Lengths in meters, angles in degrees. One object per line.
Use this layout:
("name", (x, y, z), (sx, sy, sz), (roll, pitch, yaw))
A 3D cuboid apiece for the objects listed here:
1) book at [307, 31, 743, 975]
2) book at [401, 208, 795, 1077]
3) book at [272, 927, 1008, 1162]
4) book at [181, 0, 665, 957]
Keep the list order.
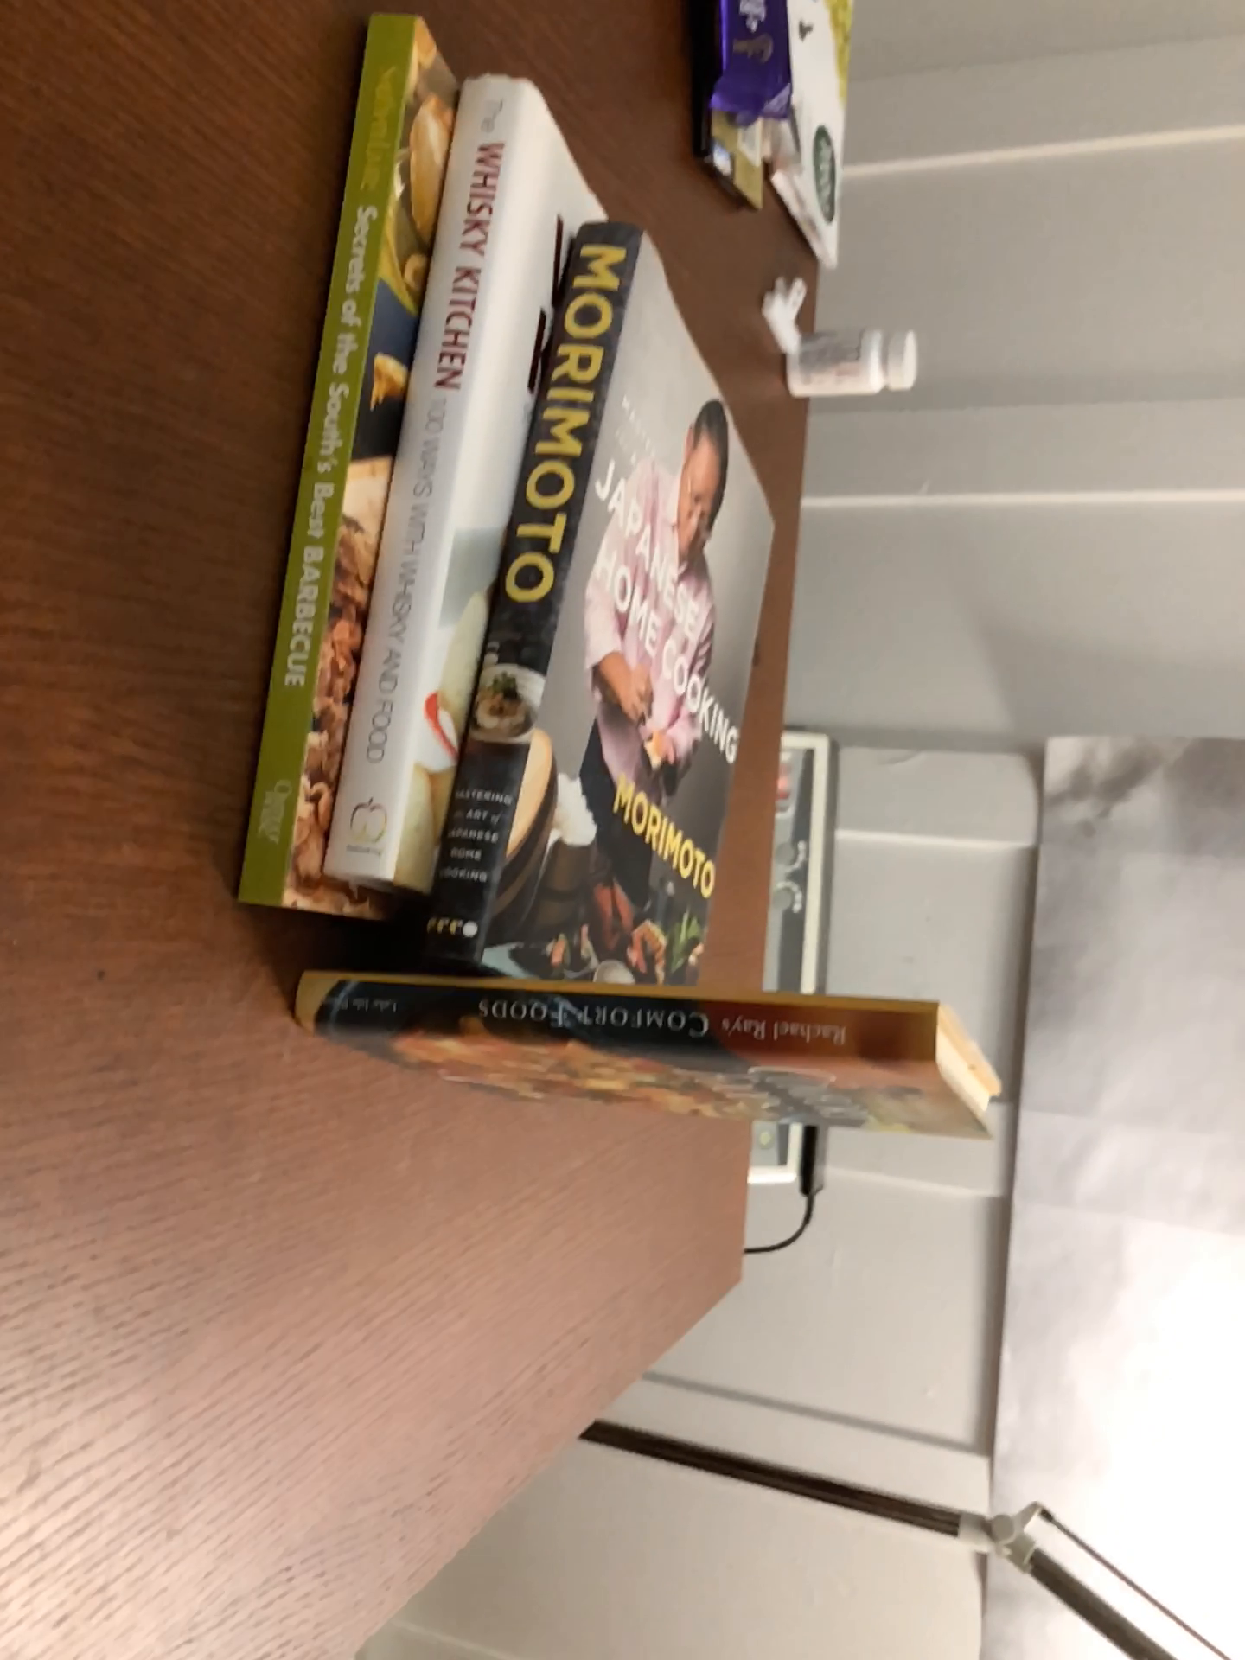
("book", (-0.019, -0.096, 0.520), (0.221, 0.030, 0.280), (28, 70, -67))
("book", (0.008, -0.054, 0.554), (0.221, 0.030, 0.280), (39, 60, -64))
("book", (0.023, 0.082, 0.496), (0.211, 0.209, 0.030), (45, 51, -64))
("book", (-0.054, -0.101, 0.505), (0.221, 0.030, 0.280), (22, 75, -67))
